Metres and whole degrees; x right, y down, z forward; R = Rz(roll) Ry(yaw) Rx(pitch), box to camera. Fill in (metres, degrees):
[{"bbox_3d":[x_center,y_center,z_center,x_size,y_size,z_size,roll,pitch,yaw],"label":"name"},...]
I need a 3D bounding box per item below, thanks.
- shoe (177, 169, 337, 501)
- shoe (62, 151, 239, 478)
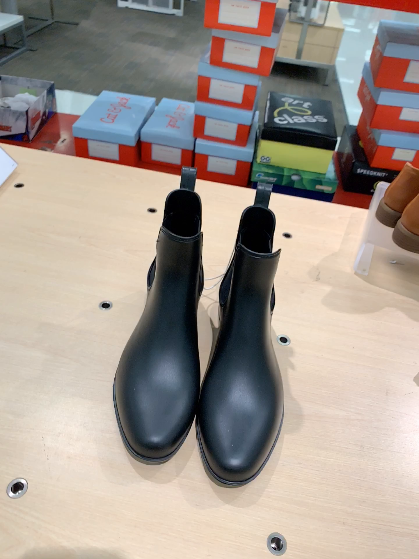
[{"bbox_3d":[0.041,0.045,0.469,0.100,0.199,0.287,8,42,0],"label":"shoe"},{"bbox_3d":[-0.045,0.024,0.475,0.113,0.201,0.287,8,42,0],"label":"shoe"}]
